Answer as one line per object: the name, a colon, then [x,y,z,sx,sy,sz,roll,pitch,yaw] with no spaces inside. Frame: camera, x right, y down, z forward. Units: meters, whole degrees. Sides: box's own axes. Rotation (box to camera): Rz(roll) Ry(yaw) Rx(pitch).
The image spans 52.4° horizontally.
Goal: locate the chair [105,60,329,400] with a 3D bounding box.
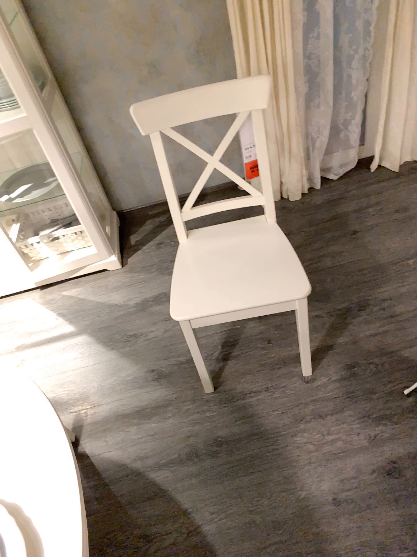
chair: [0.062,-0.107,1.310,0.450,0.807,0.542,-12,45,4]
